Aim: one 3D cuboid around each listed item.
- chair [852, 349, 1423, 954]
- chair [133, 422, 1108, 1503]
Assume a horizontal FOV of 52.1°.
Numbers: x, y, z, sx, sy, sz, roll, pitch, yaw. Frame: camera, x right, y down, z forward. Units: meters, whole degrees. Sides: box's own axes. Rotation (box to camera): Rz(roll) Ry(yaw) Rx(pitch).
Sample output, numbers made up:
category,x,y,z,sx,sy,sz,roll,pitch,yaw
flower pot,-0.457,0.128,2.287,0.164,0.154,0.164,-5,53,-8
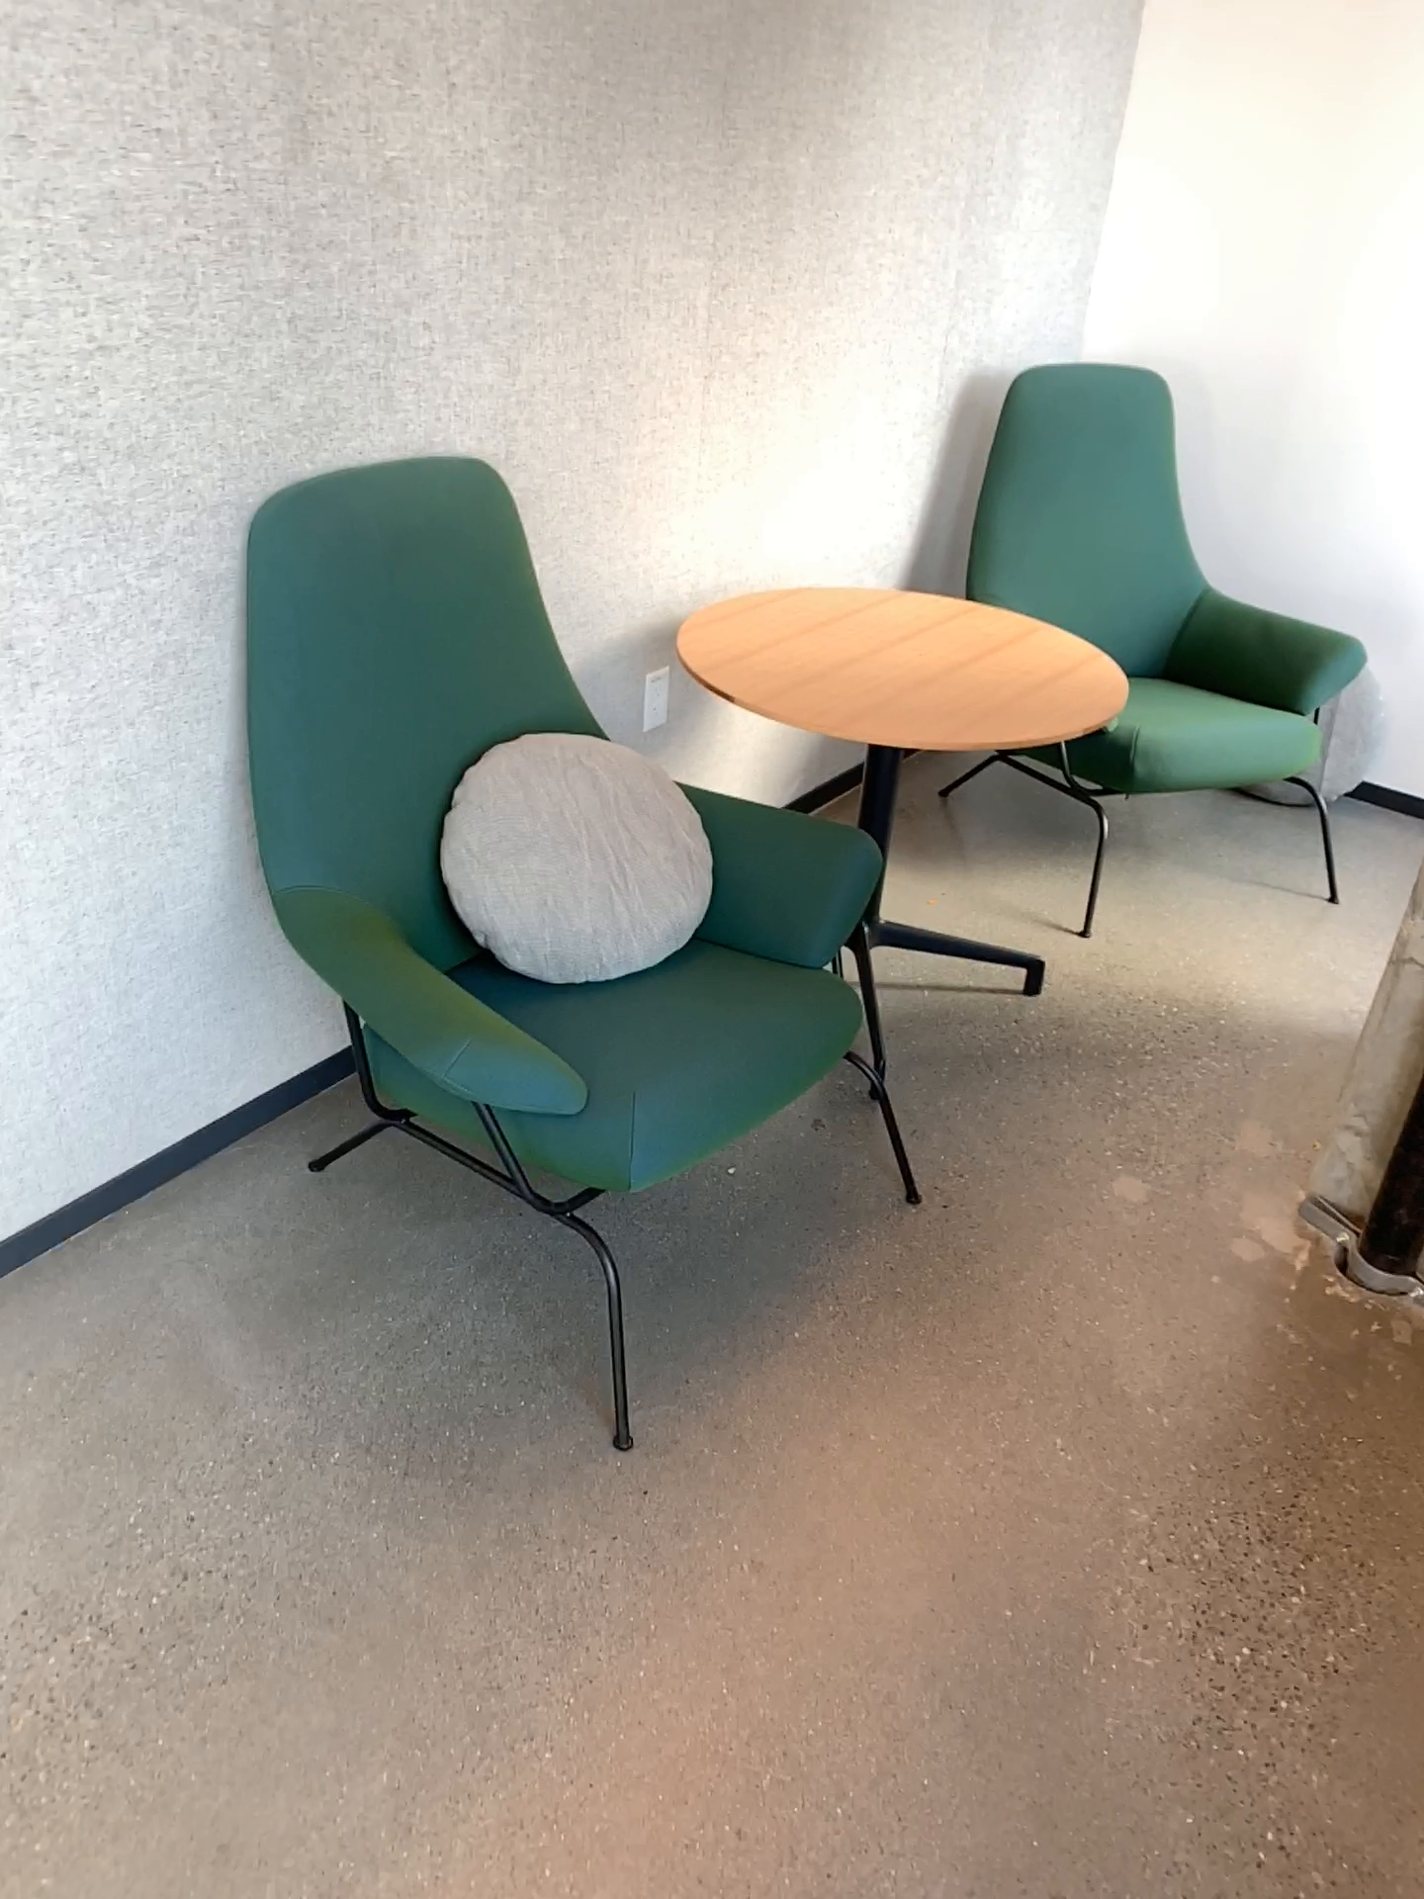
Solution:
category,x,y,z,sx,sy,sz,roll,pitch,yaw
chair,0.948,-0.702,3.173,0.820,0.954,1.006,-7,32,-20
chair,-0.130,-0.075,2.034,0.853,1.034,0.832,26,36,31
